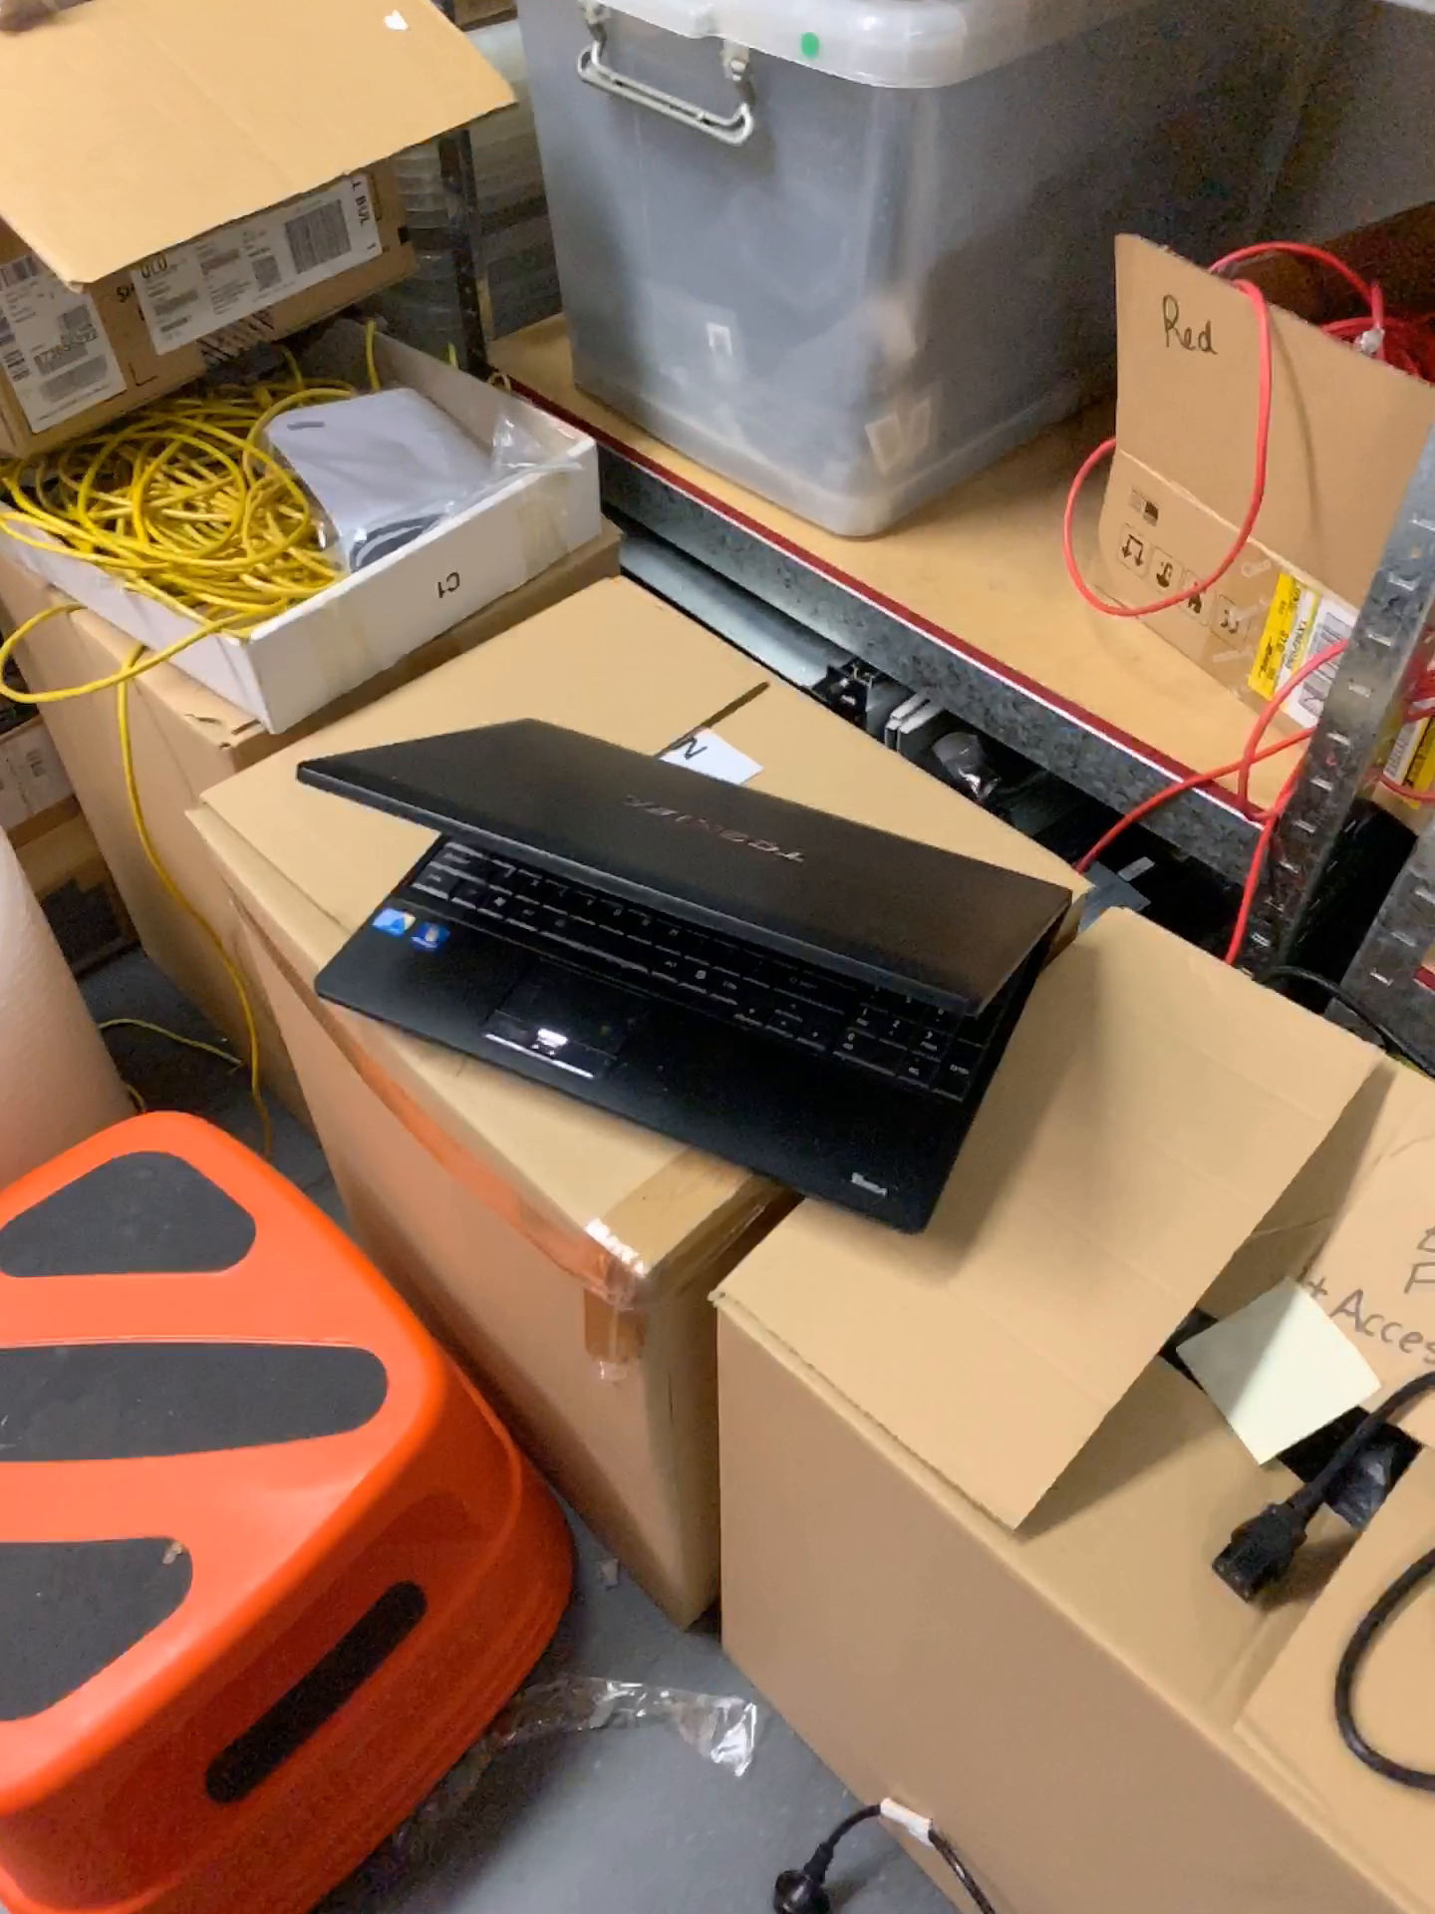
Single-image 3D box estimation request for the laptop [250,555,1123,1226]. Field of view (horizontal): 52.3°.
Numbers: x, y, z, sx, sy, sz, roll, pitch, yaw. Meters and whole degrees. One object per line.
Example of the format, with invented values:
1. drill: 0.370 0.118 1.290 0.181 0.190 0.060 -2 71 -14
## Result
1. laptop: -0.010 -0.048 0.775 0.354 0.135 0.232 20 54 15
